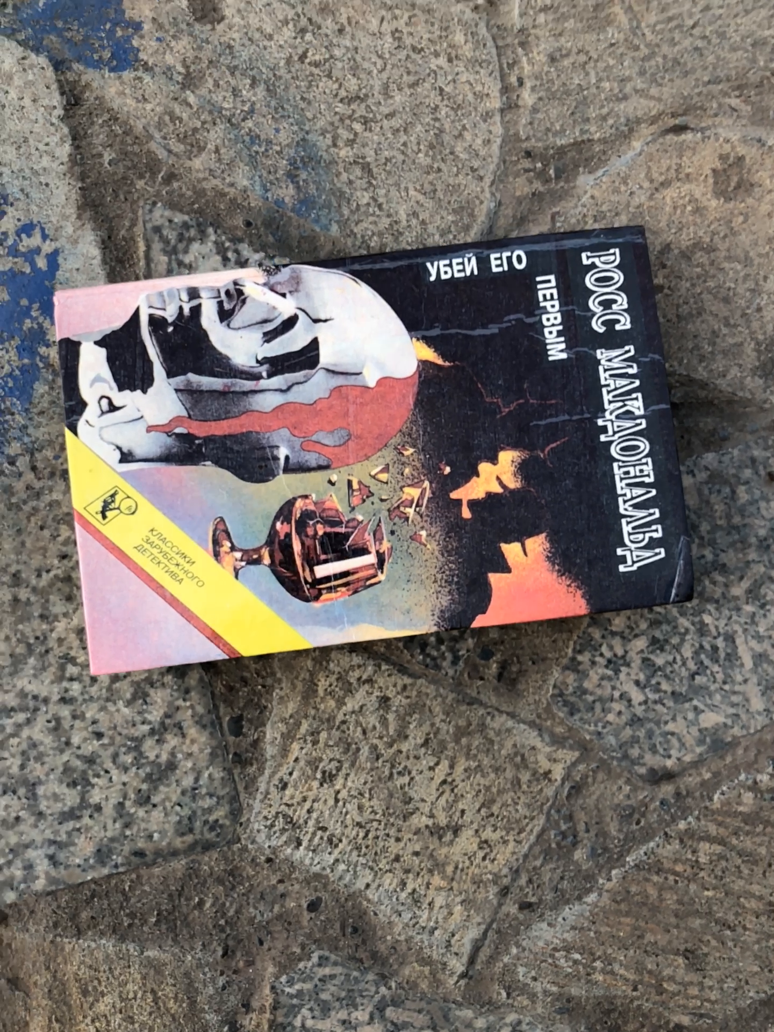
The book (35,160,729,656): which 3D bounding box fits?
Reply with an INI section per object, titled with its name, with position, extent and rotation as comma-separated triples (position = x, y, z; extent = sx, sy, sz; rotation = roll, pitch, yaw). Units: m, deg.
[book]
position = -0.002, -0.037, 0.295
extent = 0.210, 0.030, 0.140
rotation = -6, 87, -2
